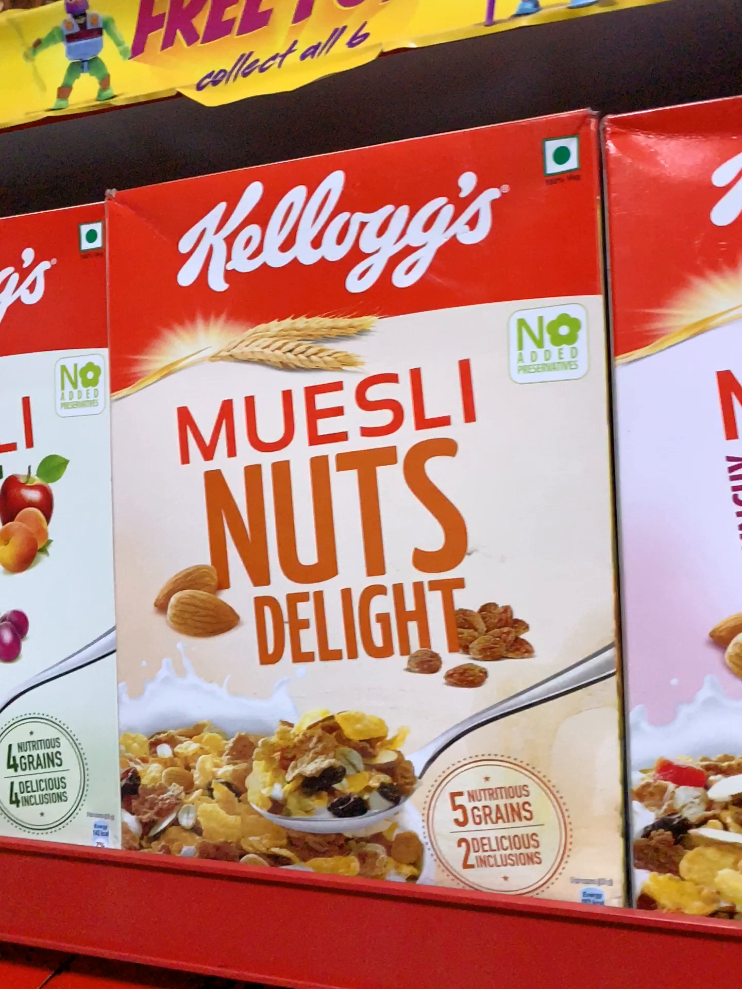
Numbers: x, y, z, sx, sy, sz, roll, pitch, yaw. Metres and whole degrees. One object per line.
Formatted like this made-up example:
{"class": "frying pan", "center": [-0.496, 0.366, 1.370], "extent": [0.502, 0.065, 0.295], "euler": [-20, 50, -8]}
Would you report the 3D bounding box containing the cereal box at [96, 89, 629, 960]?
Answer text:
{"class": "cereal box", "center": [-0.004, 0.009, 0.274], "extent": [0.170, 0.250, 0.060], "euler": [-2, -2, 16]}
